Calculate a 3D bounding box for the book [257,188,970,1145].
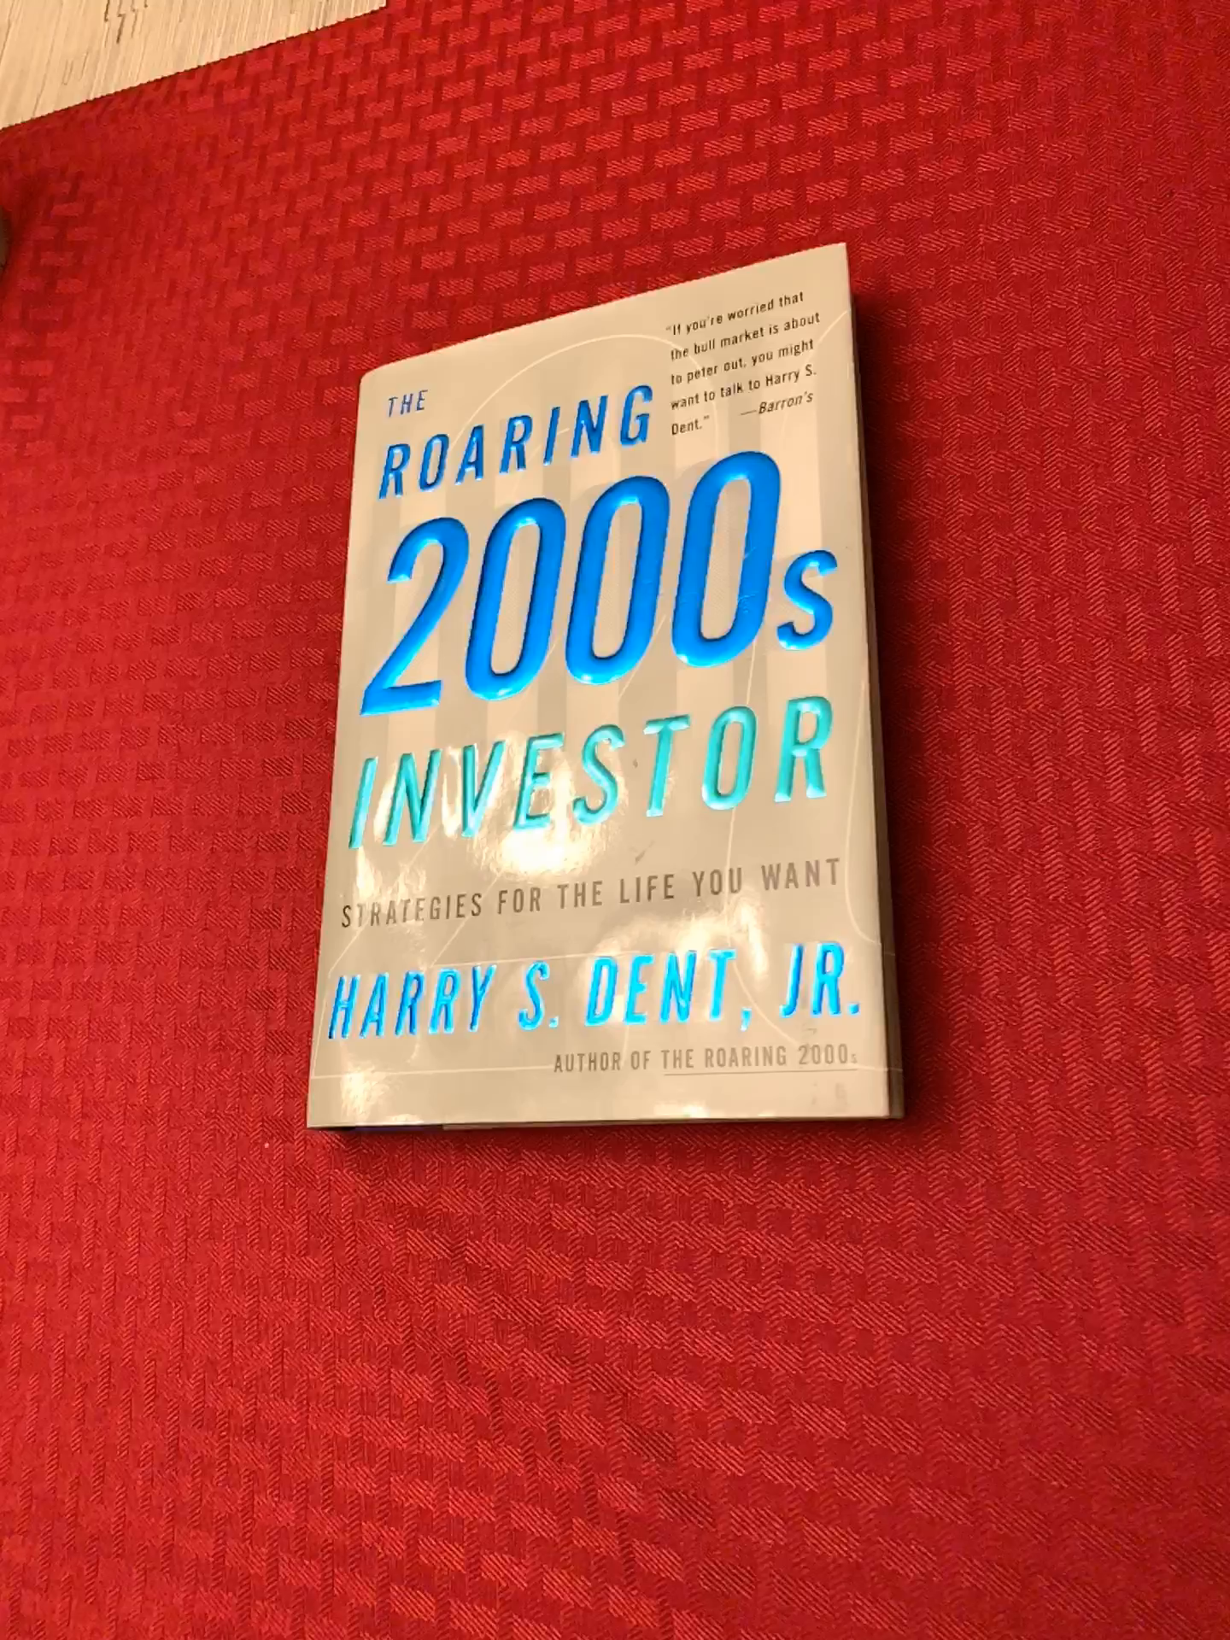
[{"bbox_3d":[-0.003,-0.038,0.345,0.170,0.040,0.240,-7,71,21],"label":"book"}]
